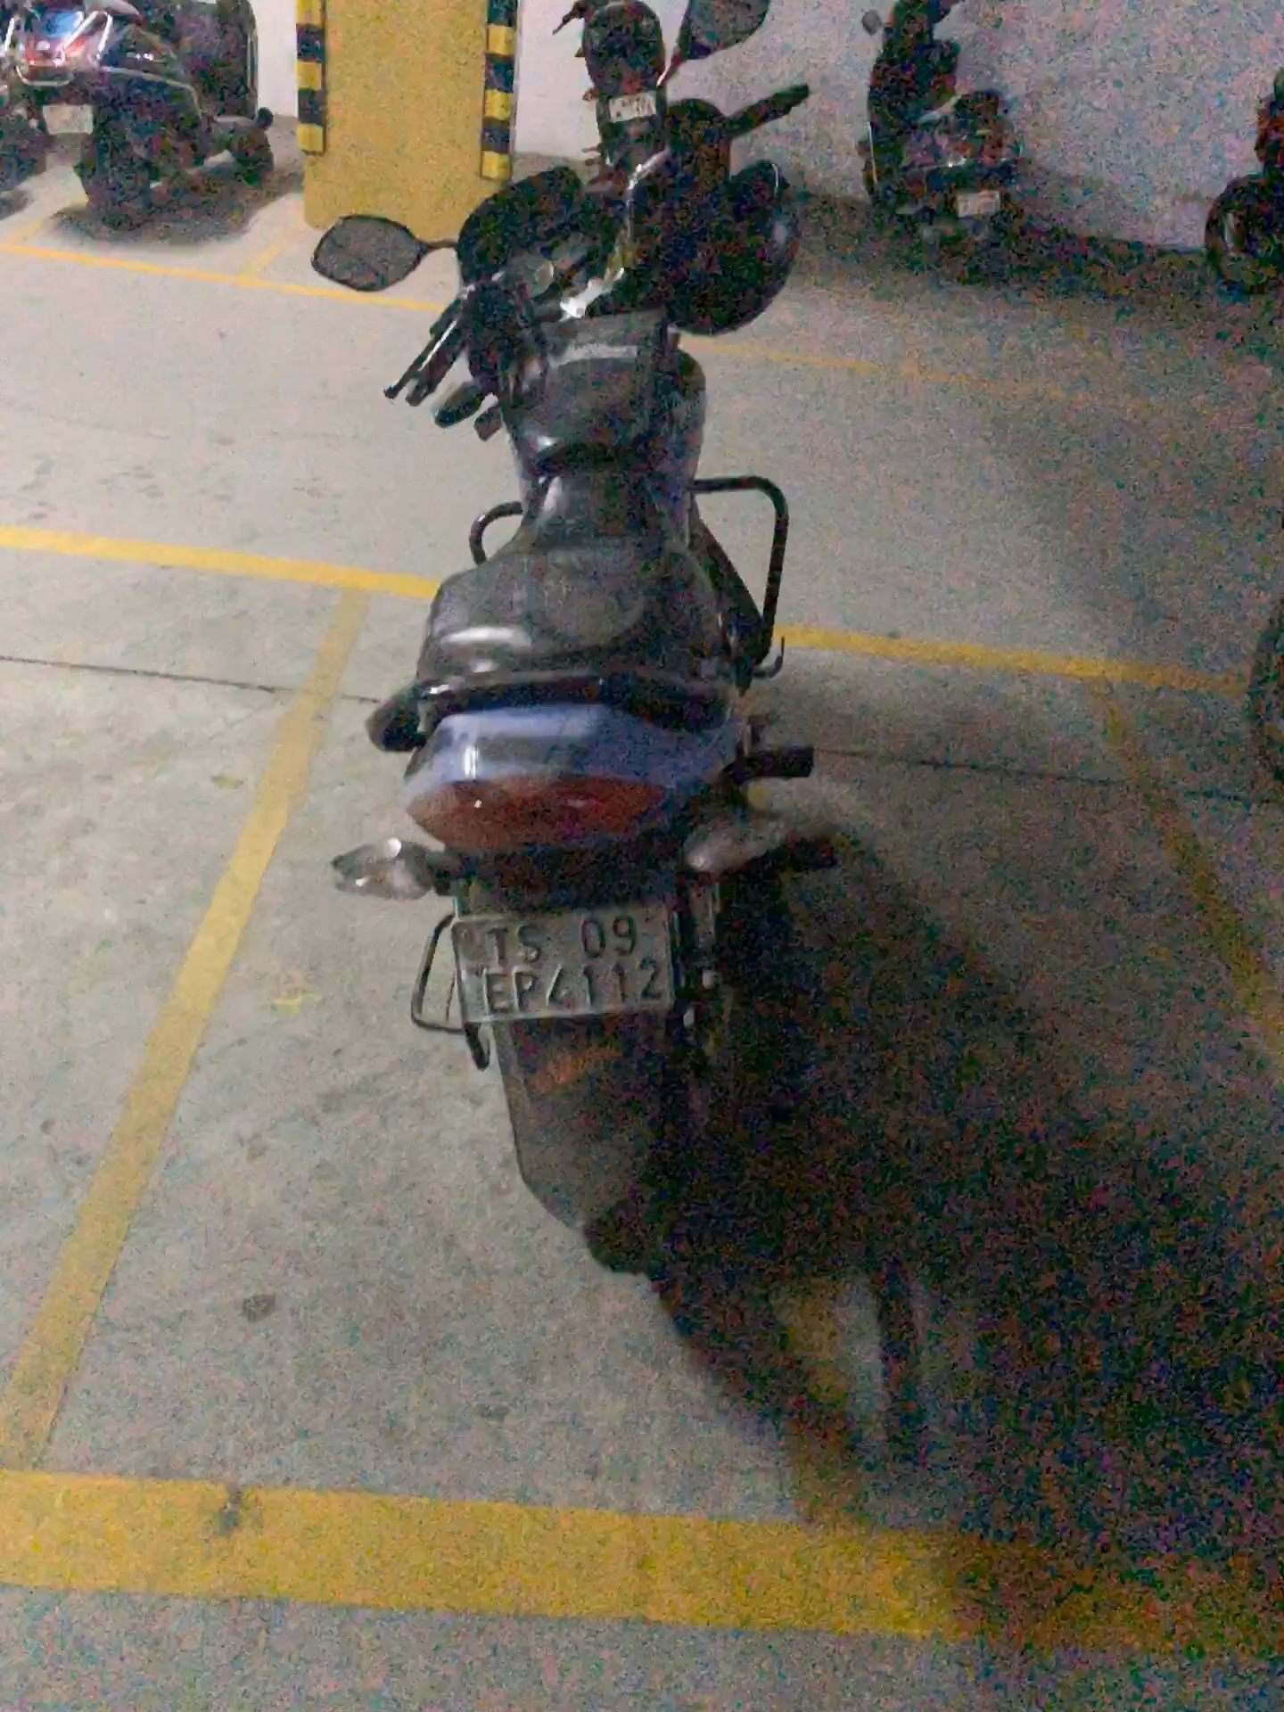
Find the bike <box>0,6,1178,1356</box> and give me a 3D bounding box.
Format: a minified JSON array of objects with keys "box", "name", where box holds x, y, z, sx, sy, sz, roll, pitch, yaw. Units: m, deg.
[{"box":[-0.217,-0.414,1.831,0.780,1.107,1.710,3,36,-9],"name":"bike"}]
